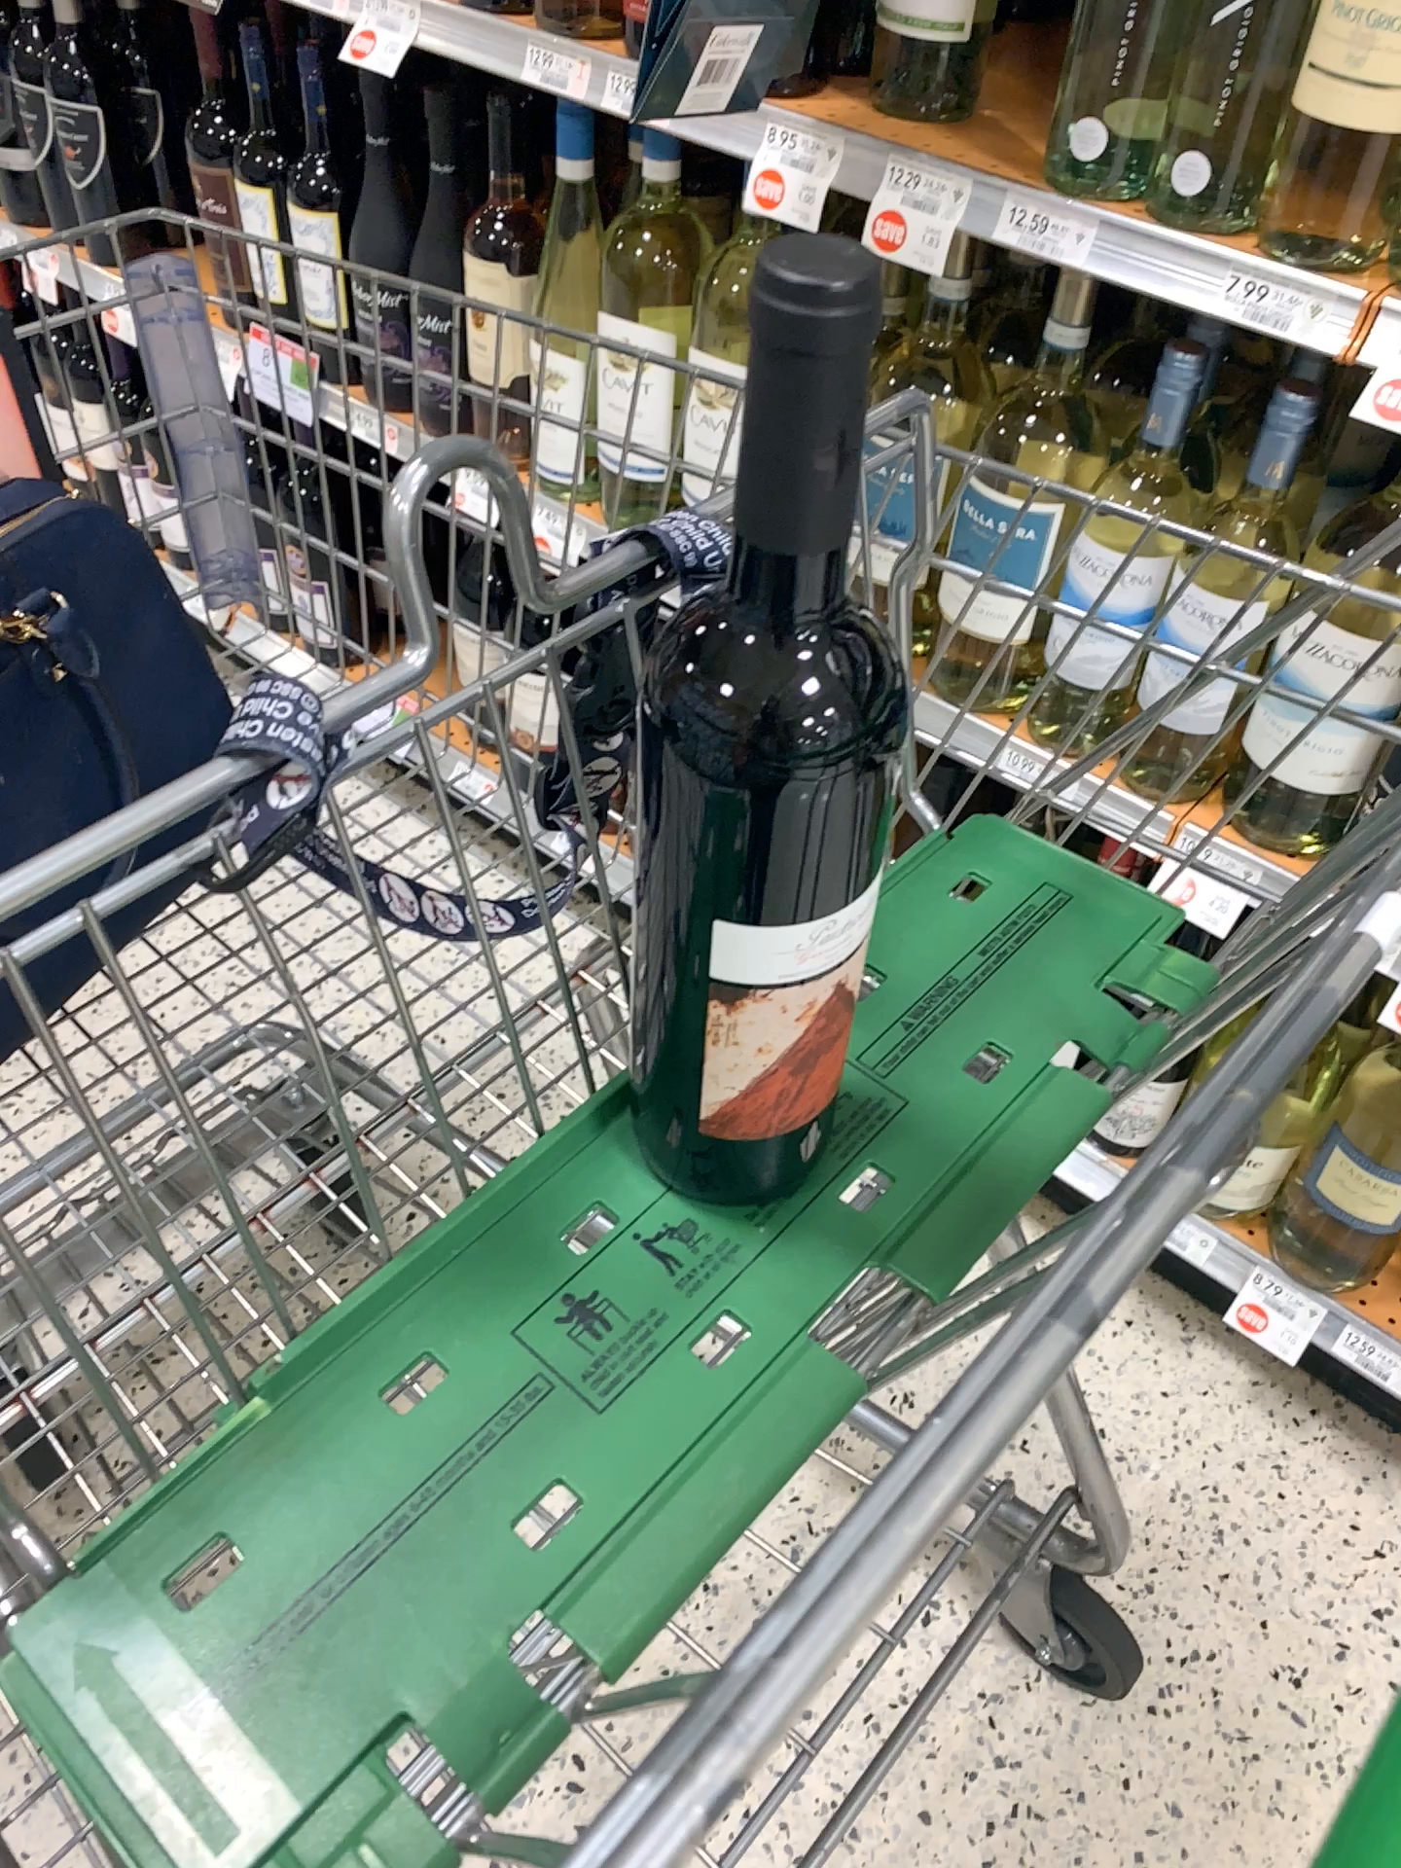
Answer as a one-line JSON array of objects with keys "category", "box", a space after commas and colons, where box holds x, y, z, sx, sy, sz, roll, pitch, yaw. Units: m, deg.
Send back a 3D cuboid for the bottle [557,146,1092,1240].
[{"category": "bottle", "box": [0.020, -0.043, 0.408, 0.080, 0.297, 0.080, 2, 45, -2]}]
